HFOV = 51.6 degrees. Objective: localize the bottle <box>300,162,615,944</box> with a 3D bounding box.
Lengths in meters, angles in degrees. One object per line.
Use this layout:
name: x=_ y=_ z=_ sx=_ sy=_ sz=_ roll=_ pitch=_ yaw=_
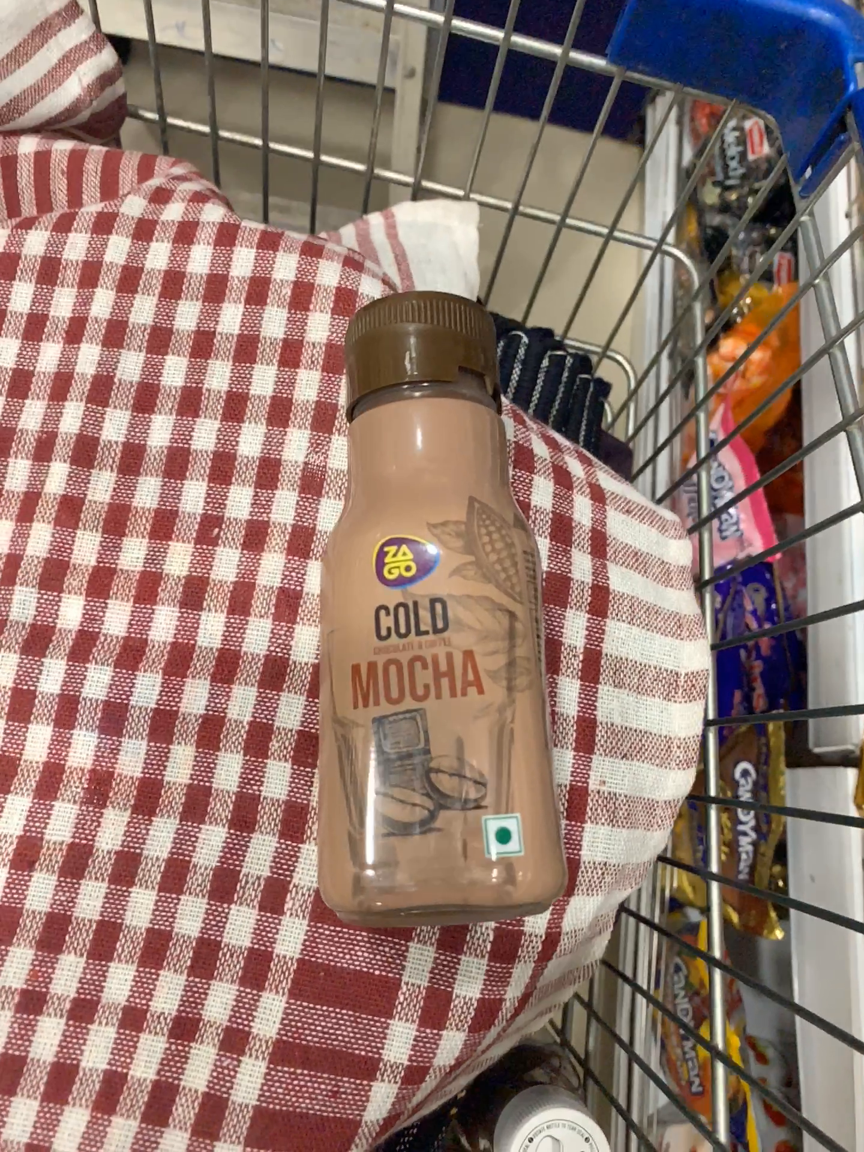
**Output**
bottle: x=0.006 y=-0.004 z=0.227 sx=0.060 sy=0.070 sz=0.170 roll=-4 pitch=77 yaw=7
